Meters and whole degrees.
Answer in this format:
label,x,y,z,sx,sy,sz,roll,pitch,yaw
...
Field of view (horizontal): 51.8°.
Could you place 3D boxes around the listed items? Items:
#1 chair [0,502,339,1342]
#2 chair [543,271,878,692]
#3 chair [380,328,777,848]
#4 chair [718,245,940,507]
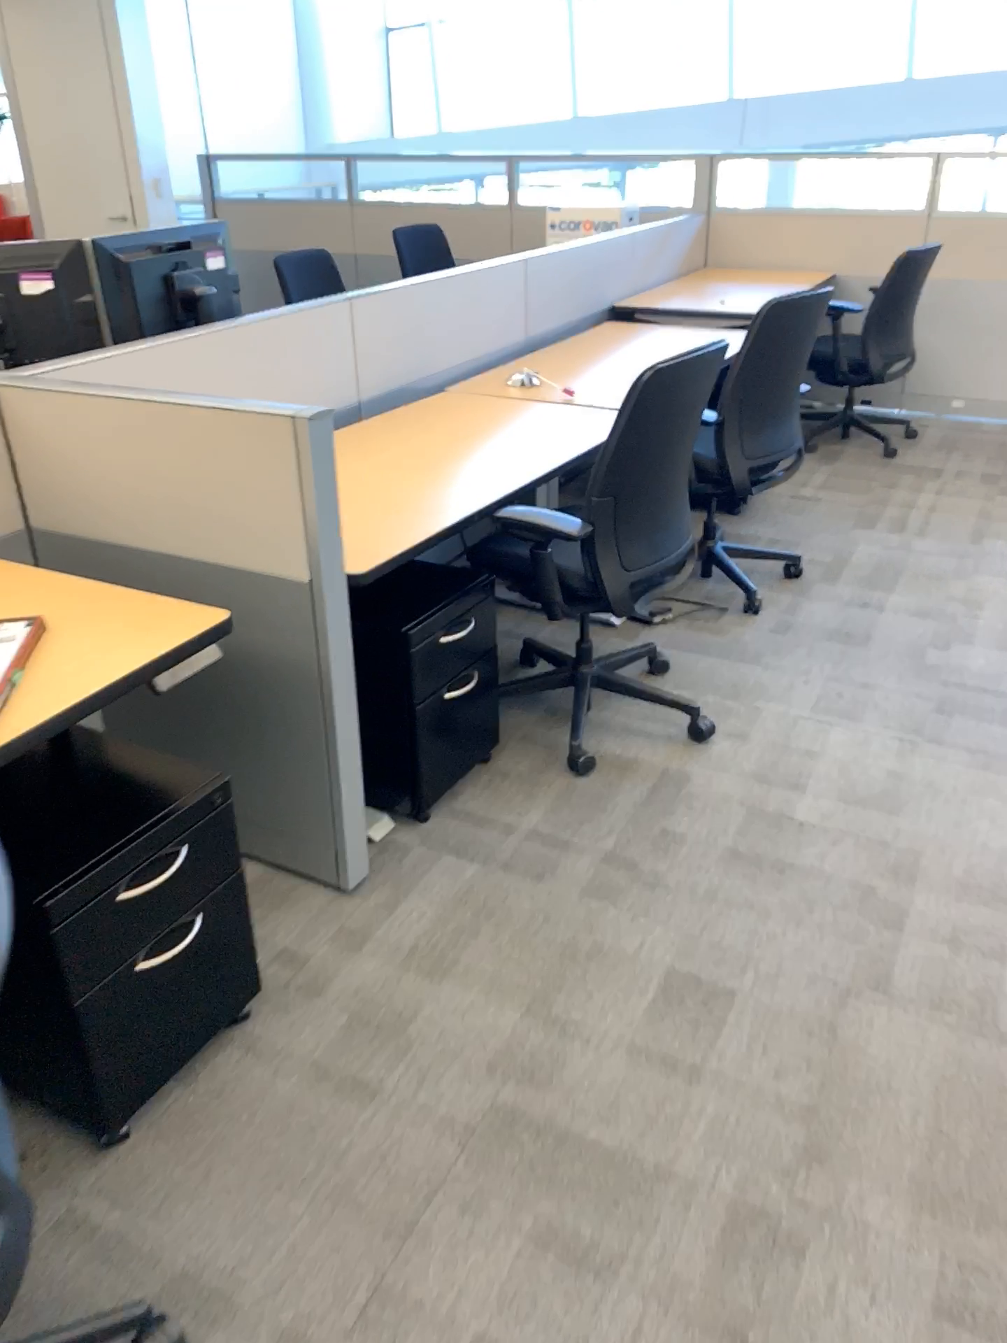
label,x,y,z,sx,sy,sz,roll,pitch,yaw
chair,-0.701,0.500,1.120,0.681,1.084,0.754,-18,32,-30
chair,0.671,-0.706,3.634,0.751,1.183,0.763,-21,33,-33
chair,0.220,-0.294,3.014,0.762,1.183,0.752,18,33,33
chair,1.803,-1.696,5.868,0.751,1.233,0.763,-21,33,-33
